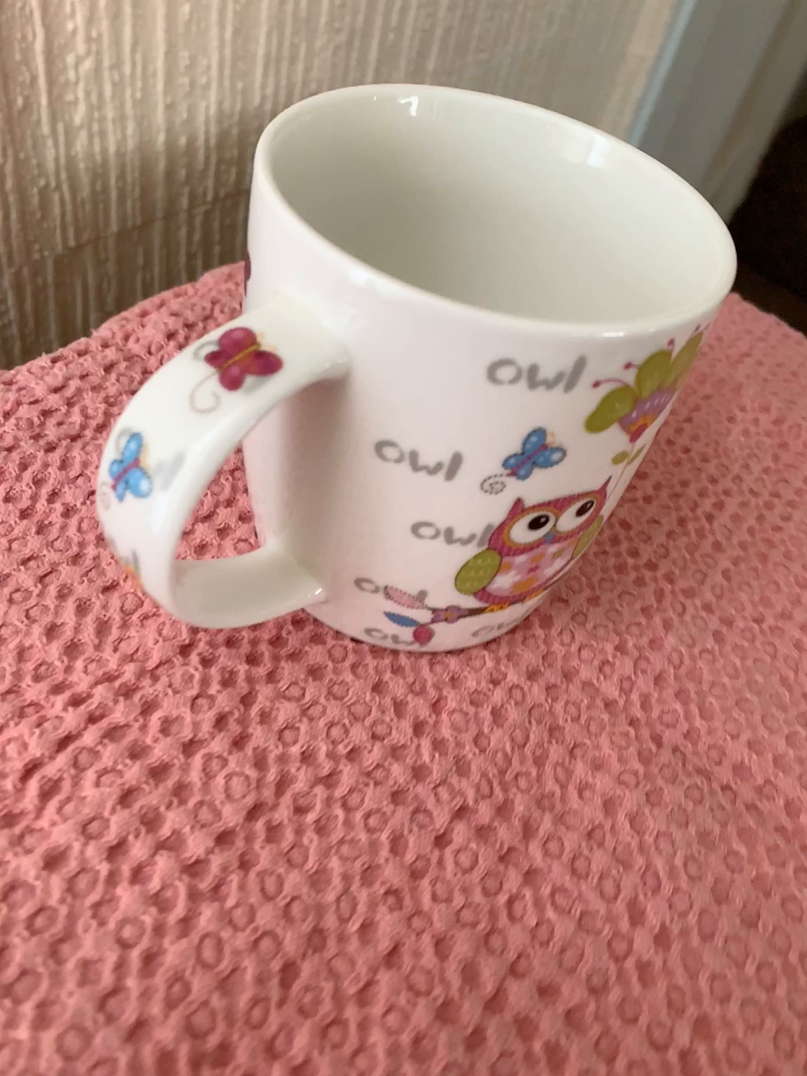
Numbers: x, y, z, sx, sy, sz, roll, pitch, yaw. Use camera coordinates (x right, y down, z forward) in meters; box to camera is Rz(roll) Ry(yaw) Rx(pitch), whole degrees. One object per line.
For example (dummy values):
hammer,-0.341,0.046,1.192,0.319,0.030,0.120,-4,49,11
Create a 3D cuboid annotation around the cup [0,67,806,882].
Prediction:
cup,-0.003,-0.023,0.169,0.090,0.089,0.121,40,50,22
